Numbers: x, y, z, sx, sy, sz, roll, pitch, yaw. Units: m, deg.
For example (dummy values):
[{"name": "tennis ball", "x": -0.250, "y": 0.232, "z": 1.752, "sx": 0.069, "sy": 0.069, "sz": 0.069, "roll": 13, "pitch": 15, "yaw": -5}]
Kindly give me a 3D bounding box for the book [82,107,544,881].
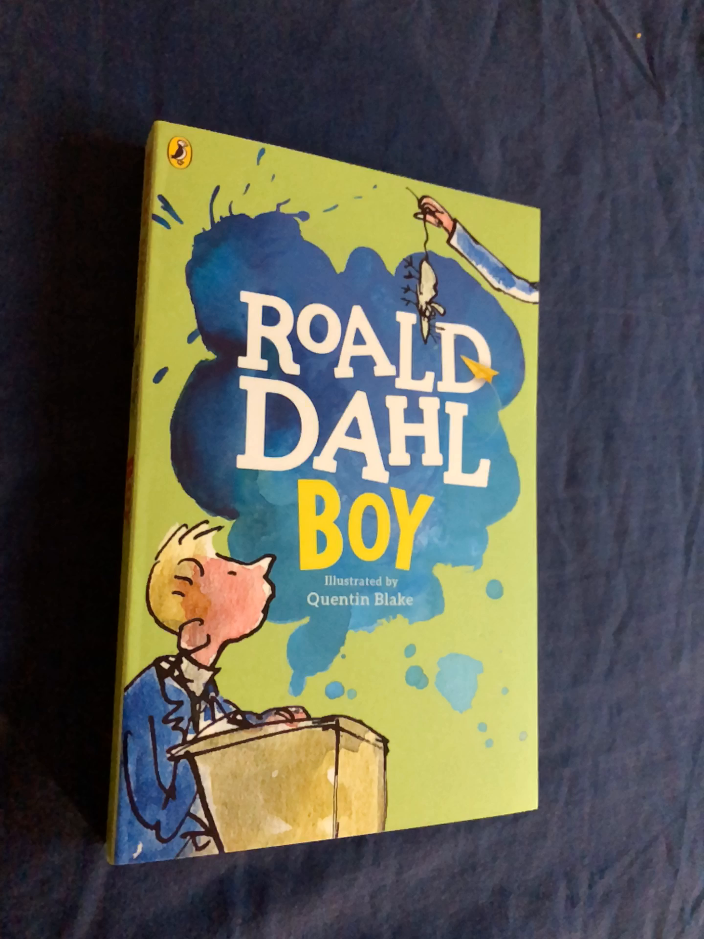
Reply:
[{"name": "book", "x": -0.004, "y": 0.007, "z": 0.229, "sx": 0.126, "sy": 0.027, "sz": 0.189, "roll": 5, "pitch": 83, "yaw": -25}]
